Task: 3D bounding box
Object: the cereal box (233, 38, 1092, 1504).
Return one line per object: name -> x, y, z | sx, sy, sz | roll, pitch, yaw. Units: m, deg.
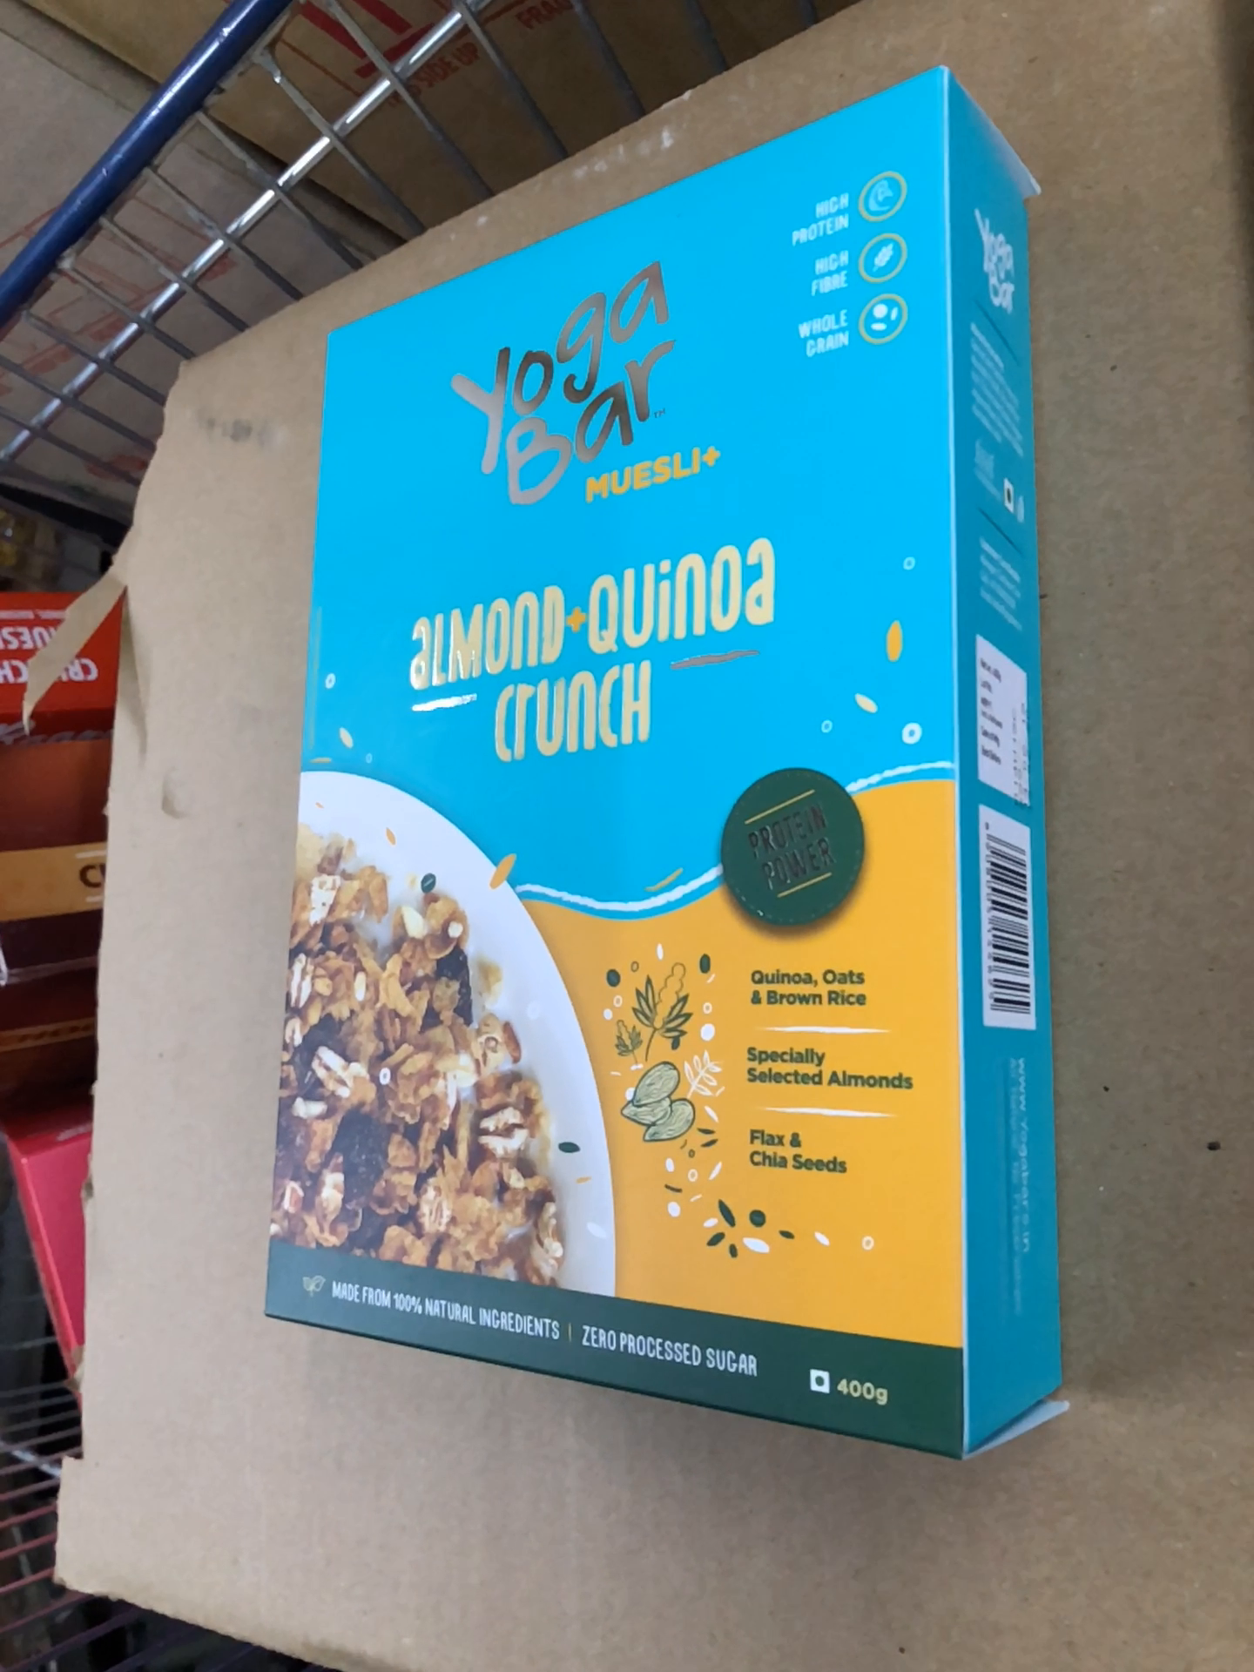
cereal box -> 0.002, -0.009, 0.297 | 0.161, 0.070, 0.240 | -5, 80, 33
